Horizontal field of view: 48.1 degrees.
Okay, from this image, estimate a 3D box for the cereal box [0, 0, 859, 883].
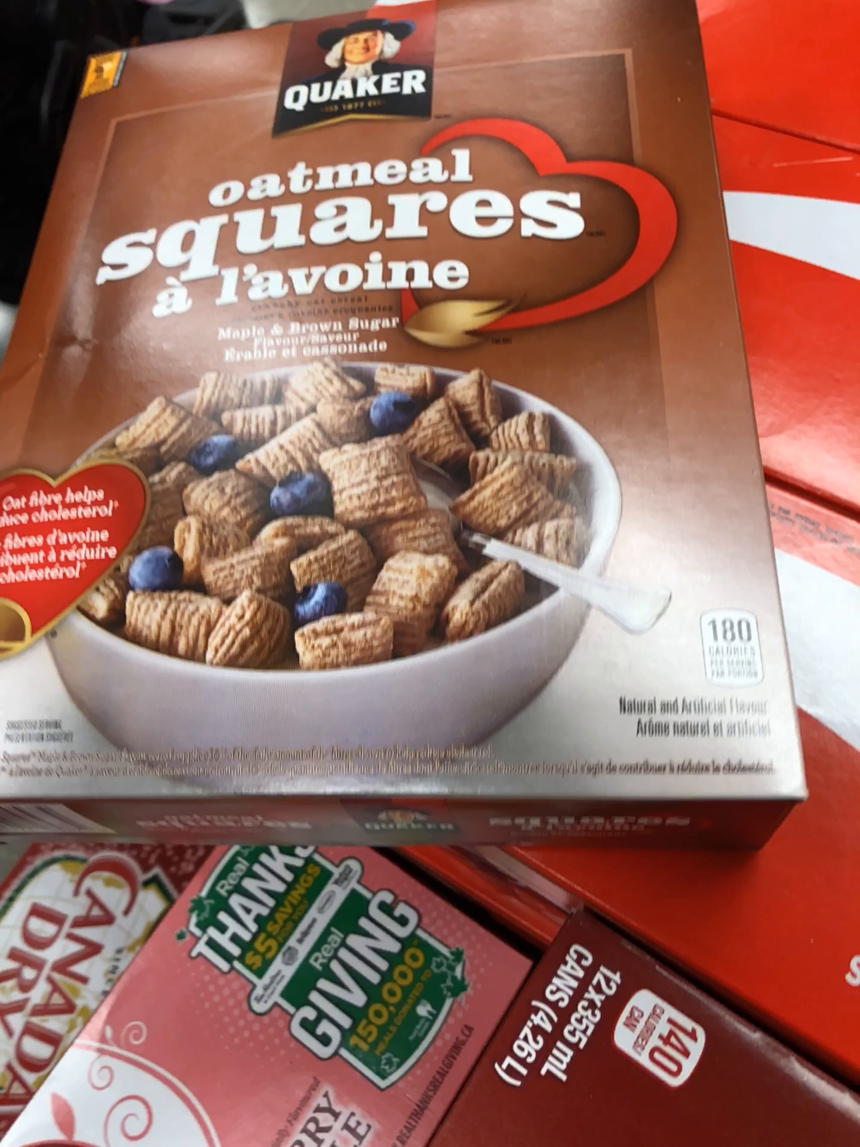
[{"bbox_3d":[-0.024,-0.070,0.267,0.240,0.050,0.290,-3,63,10],"label":"cereal box"}]
